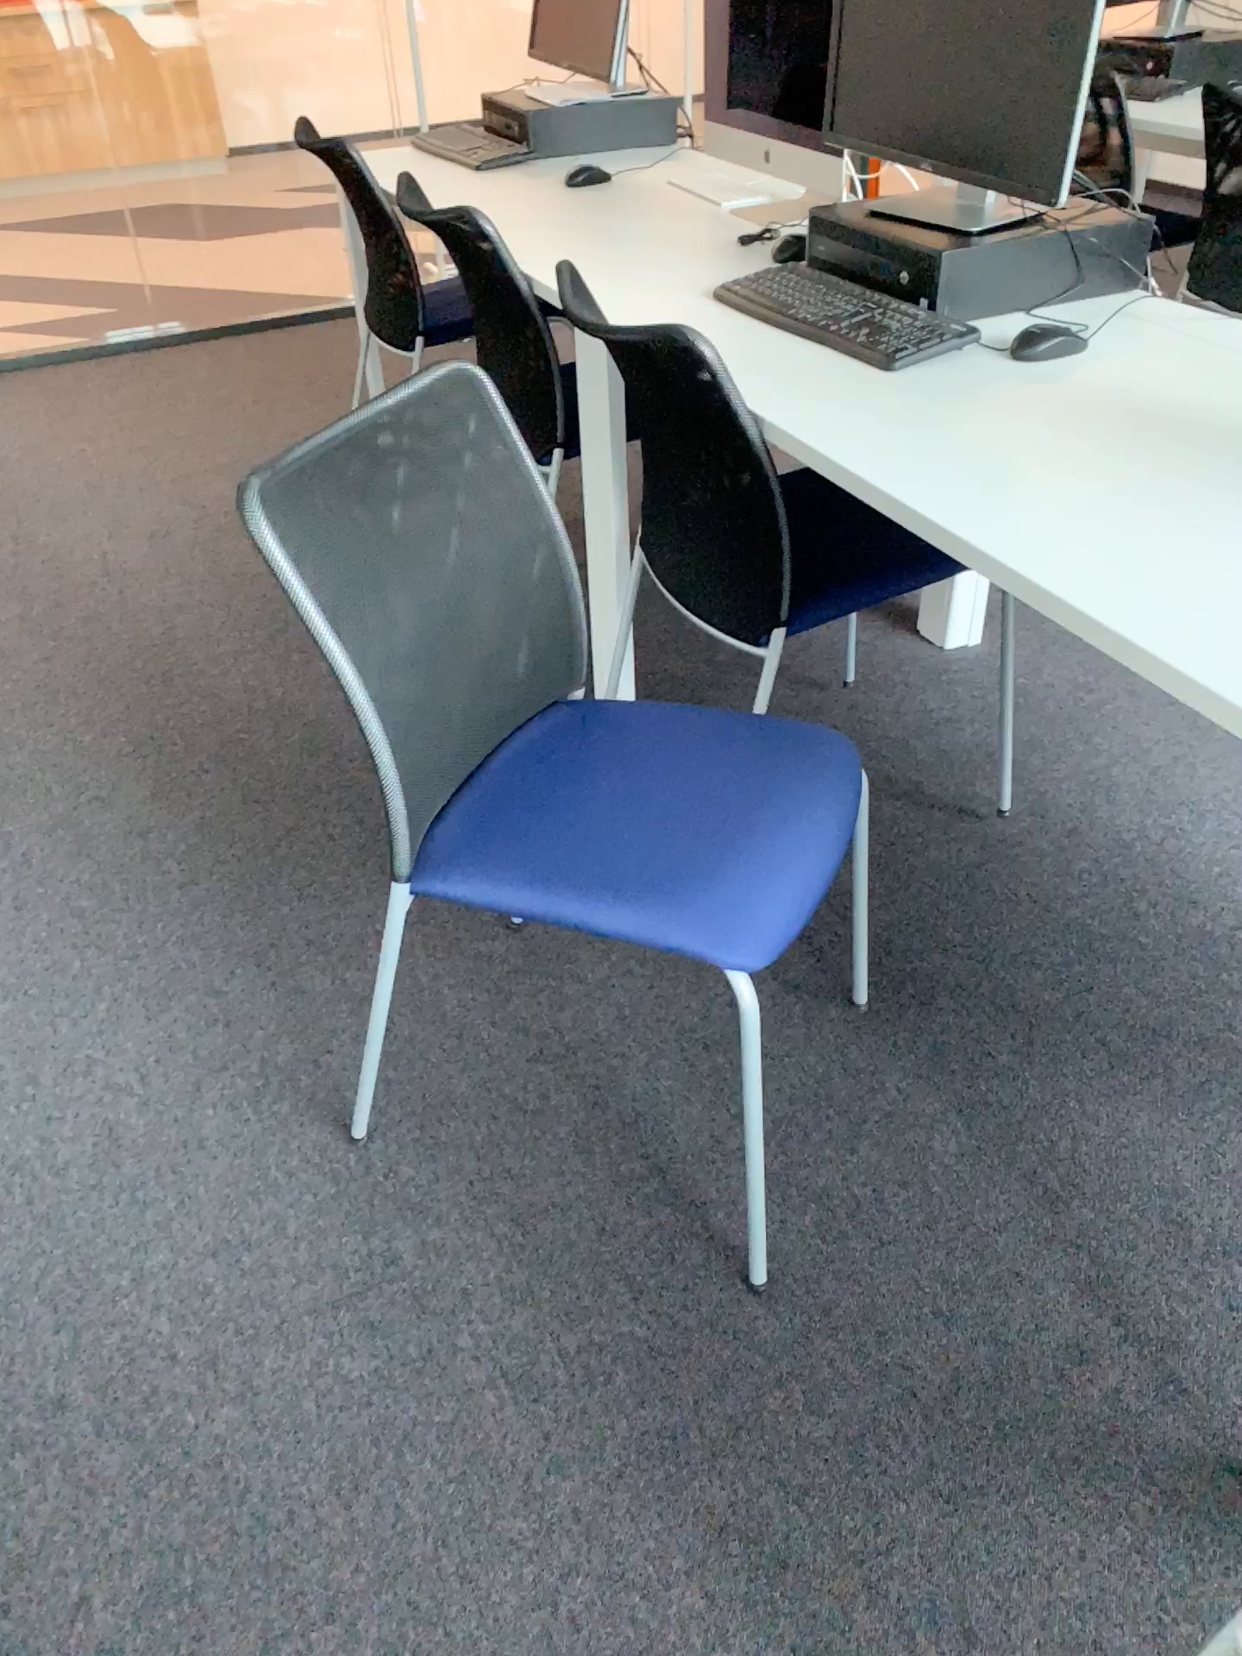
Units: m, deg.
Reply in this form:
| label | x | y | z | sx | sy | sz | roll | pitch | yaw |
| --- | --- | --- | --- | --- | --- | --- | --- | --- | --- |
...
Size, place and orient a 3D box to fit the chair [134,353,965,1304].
| label | x | y | z | sx | sy | sz | roll | pitch | yaw |
| --- | --- | --- | --- | --- | --- | --- | --- | --- | --- |
| chair | -0.024 | -0.027 | 1.494 | 0.631 | 0.825 | 0.573 | 14 | 39 | 21 |

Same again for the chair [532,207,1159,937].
| label | x | y | z | sx | sy | sz | roll | pitch | yaw |
| --- | --- | --- | --- | --- | --- | --- | --- | --- | --- |
| chair | 0.299 | -0.422 | 2.006 | 0.651 | 0.865 | 0.573 | -17 | 39 | -18 |
